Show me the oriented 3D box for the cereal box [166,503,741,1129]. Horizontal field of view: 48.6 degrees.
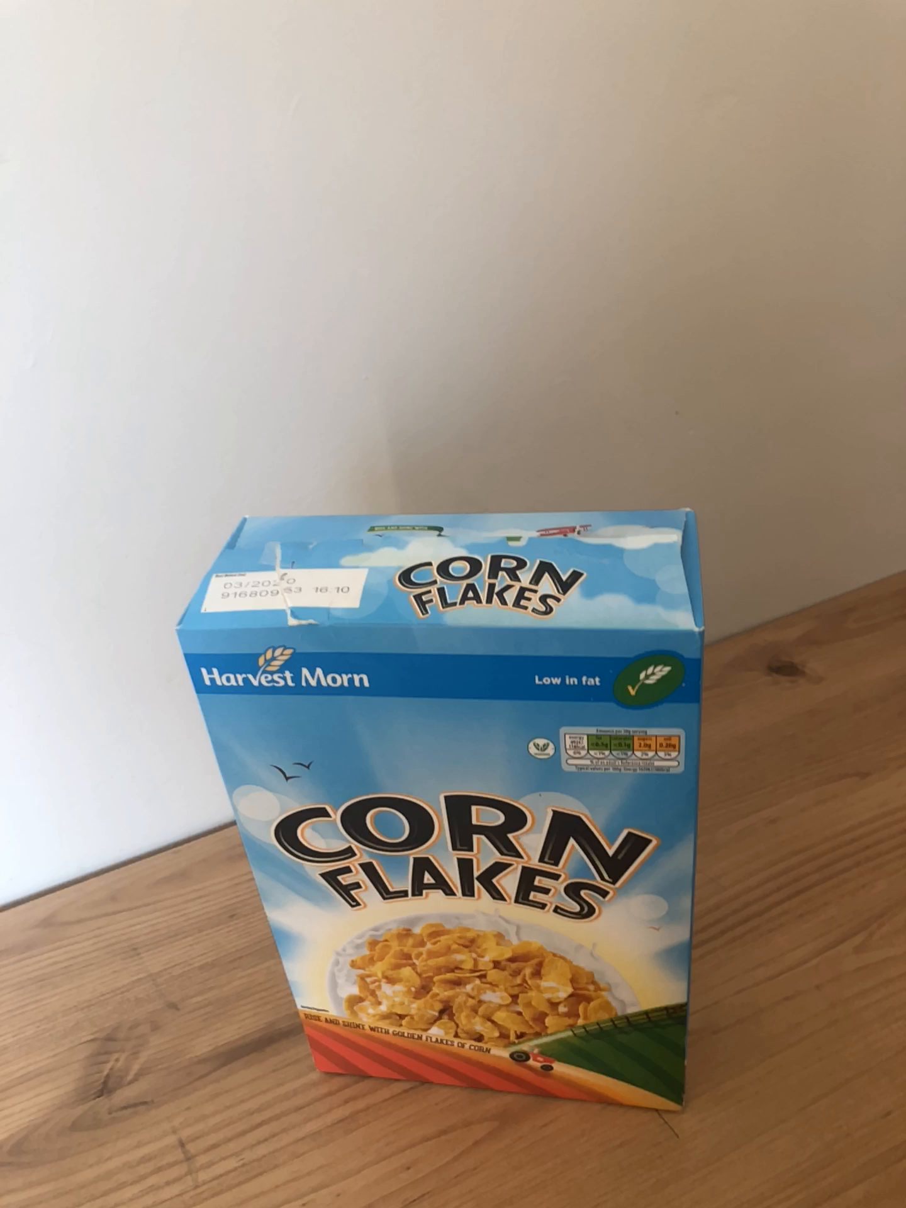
[{"bbox_3d":[0.017,0.109,0.462,0.200,0.308,0.081,1,35,11],"label":"cereal box"}]
